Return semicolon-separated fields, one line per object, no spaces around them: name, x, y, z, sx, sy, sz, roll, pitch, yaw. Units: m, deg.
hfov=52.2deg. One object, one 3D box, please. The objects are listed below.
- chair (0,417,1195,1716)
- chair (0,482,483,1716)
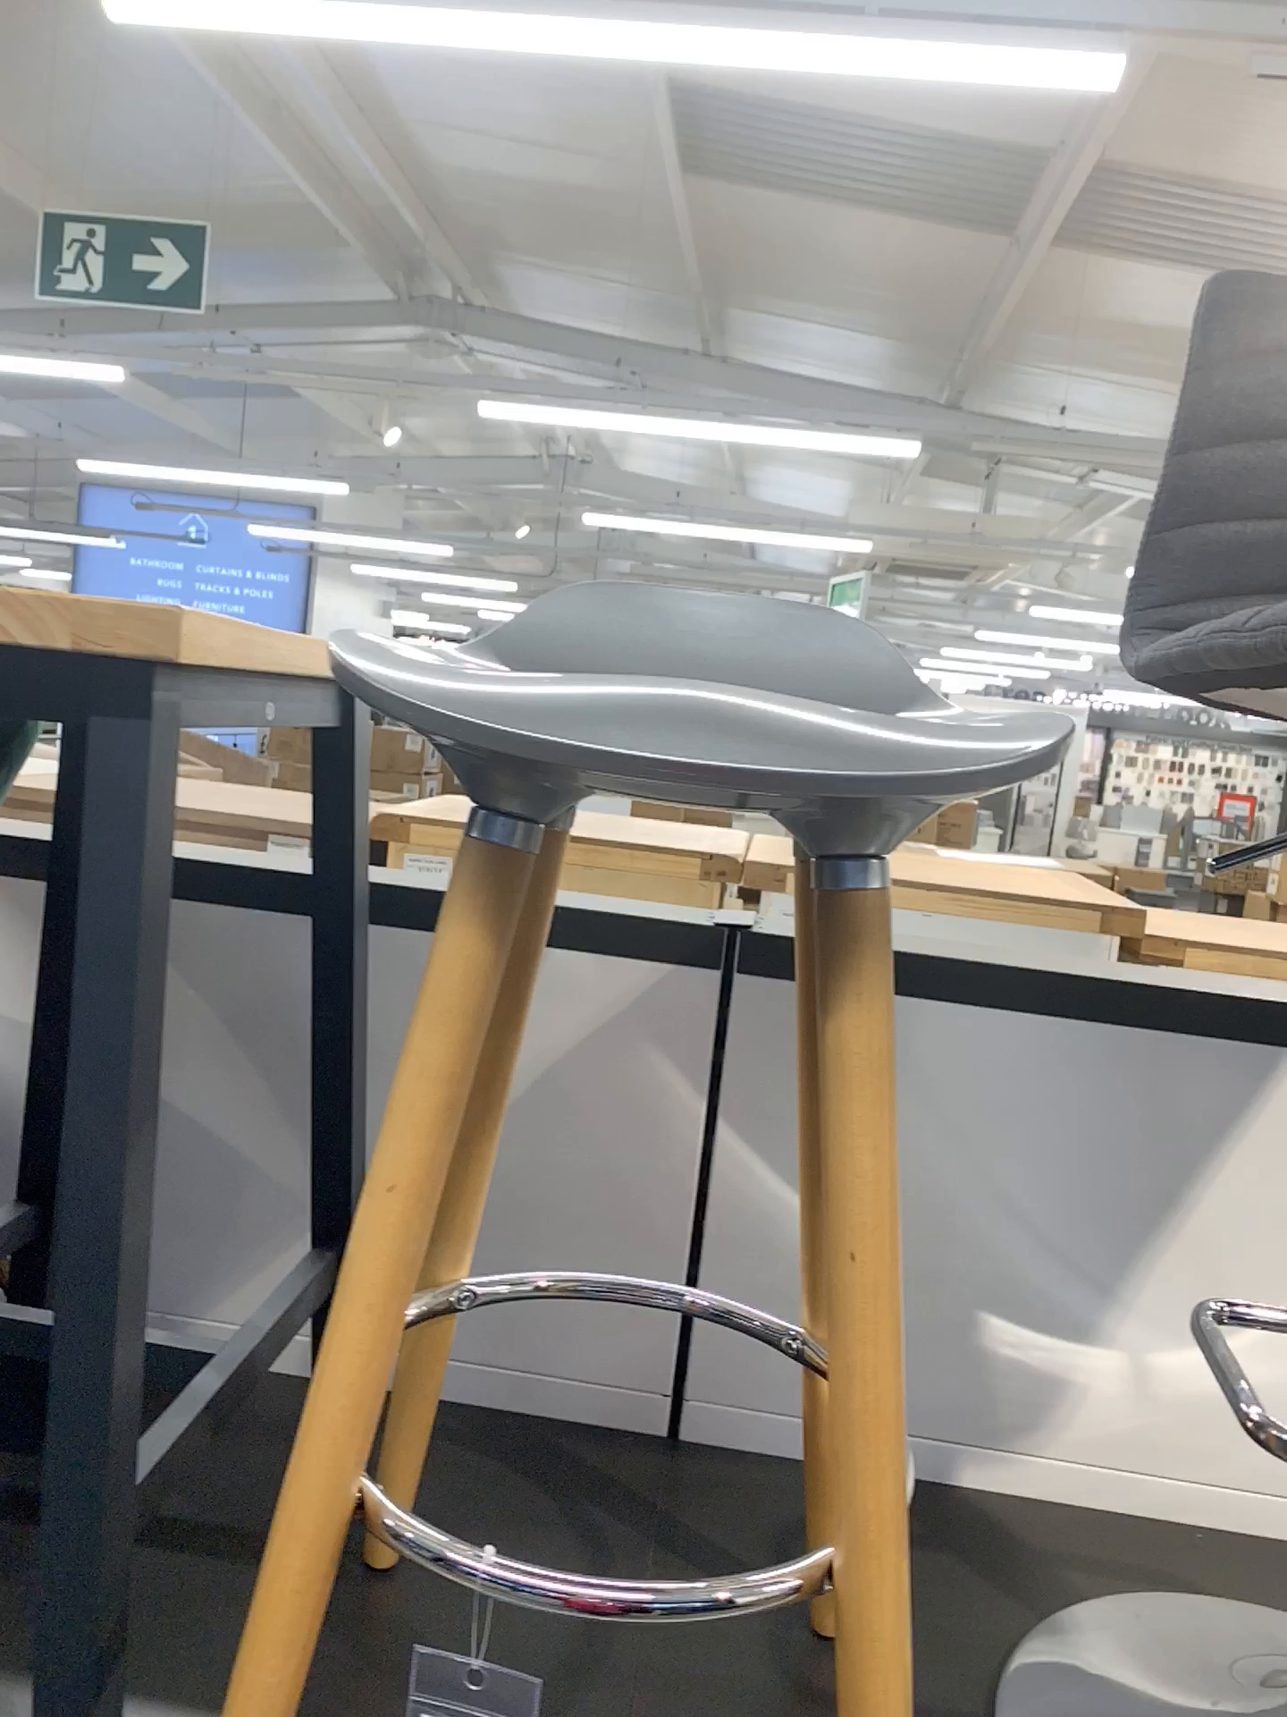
chair;-0.023;0.186;0.790;0.442;0.739;0.462;7;5;5
chair;-0.408;0.172;0.861;0.442;0.689;0.502;7;5;4
